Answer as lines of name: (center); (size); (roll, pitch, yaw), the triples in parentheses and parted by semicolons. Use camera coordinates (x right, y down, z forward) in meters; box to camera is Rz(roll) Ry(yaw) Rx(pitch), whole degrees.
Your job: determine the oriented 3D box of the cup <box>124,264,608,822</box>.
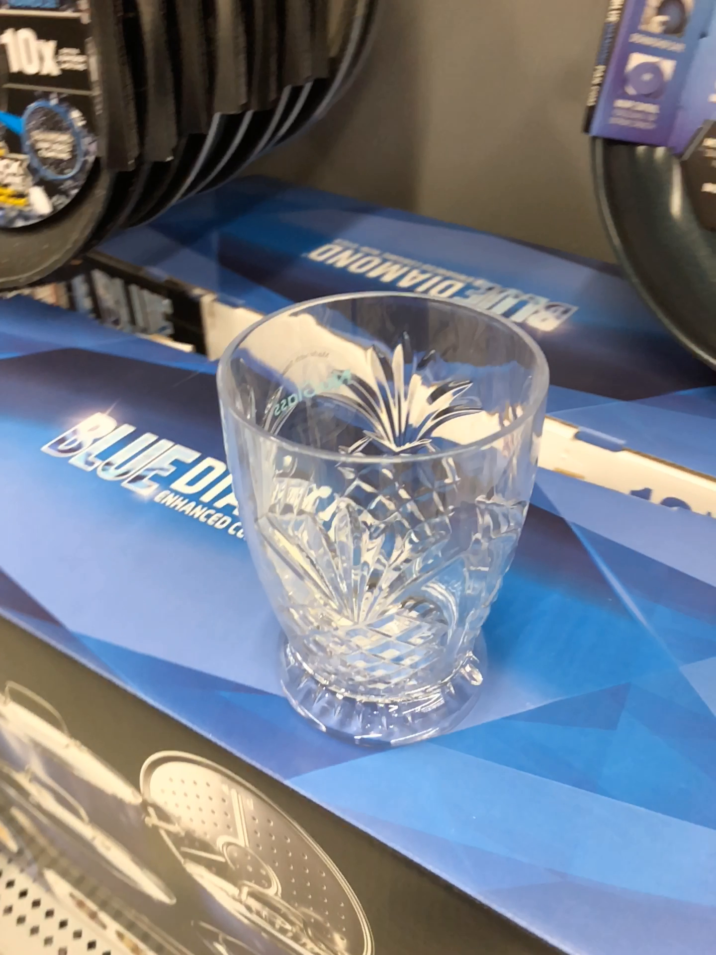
cup: (0.007, 0.015, 0.237); (0.092, 0.113, 0.088); (-1, 38, 1)
